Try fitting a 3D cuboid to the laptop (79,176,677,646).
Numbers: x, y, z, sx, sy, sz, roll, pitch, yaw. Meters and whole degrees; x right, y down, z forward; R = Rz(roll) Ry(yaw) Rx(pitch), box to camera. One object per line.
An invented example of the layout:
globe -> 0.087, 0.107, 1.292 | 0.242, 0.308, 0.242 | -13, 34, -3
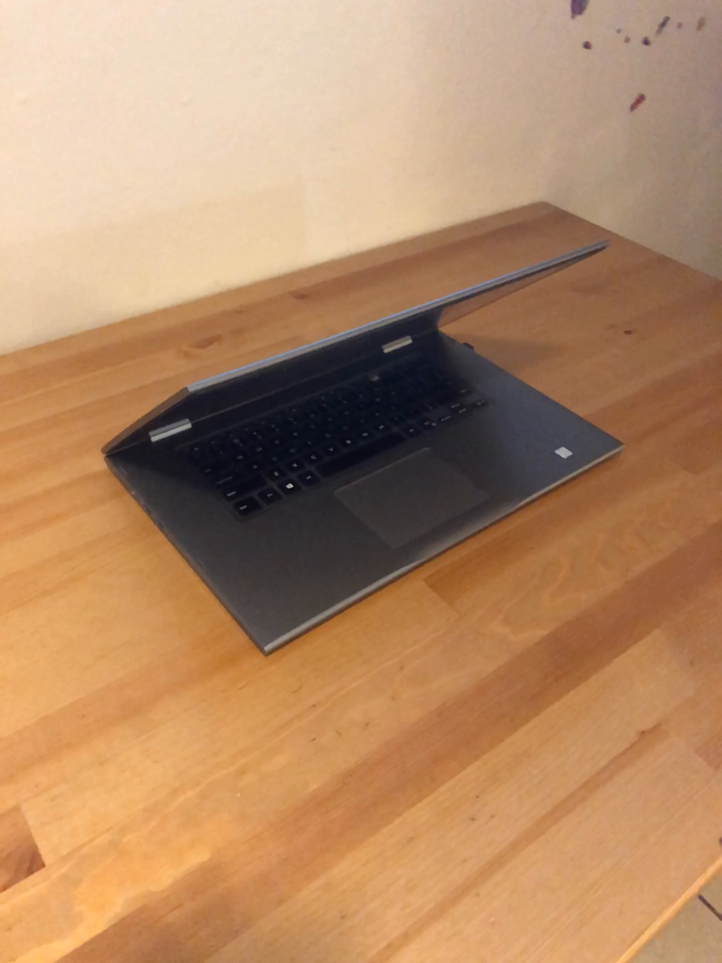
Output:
laptop -> 0.016, -0.090, 0.643 | 0.376, 0.165, 0.247 | -26, 48, -29
